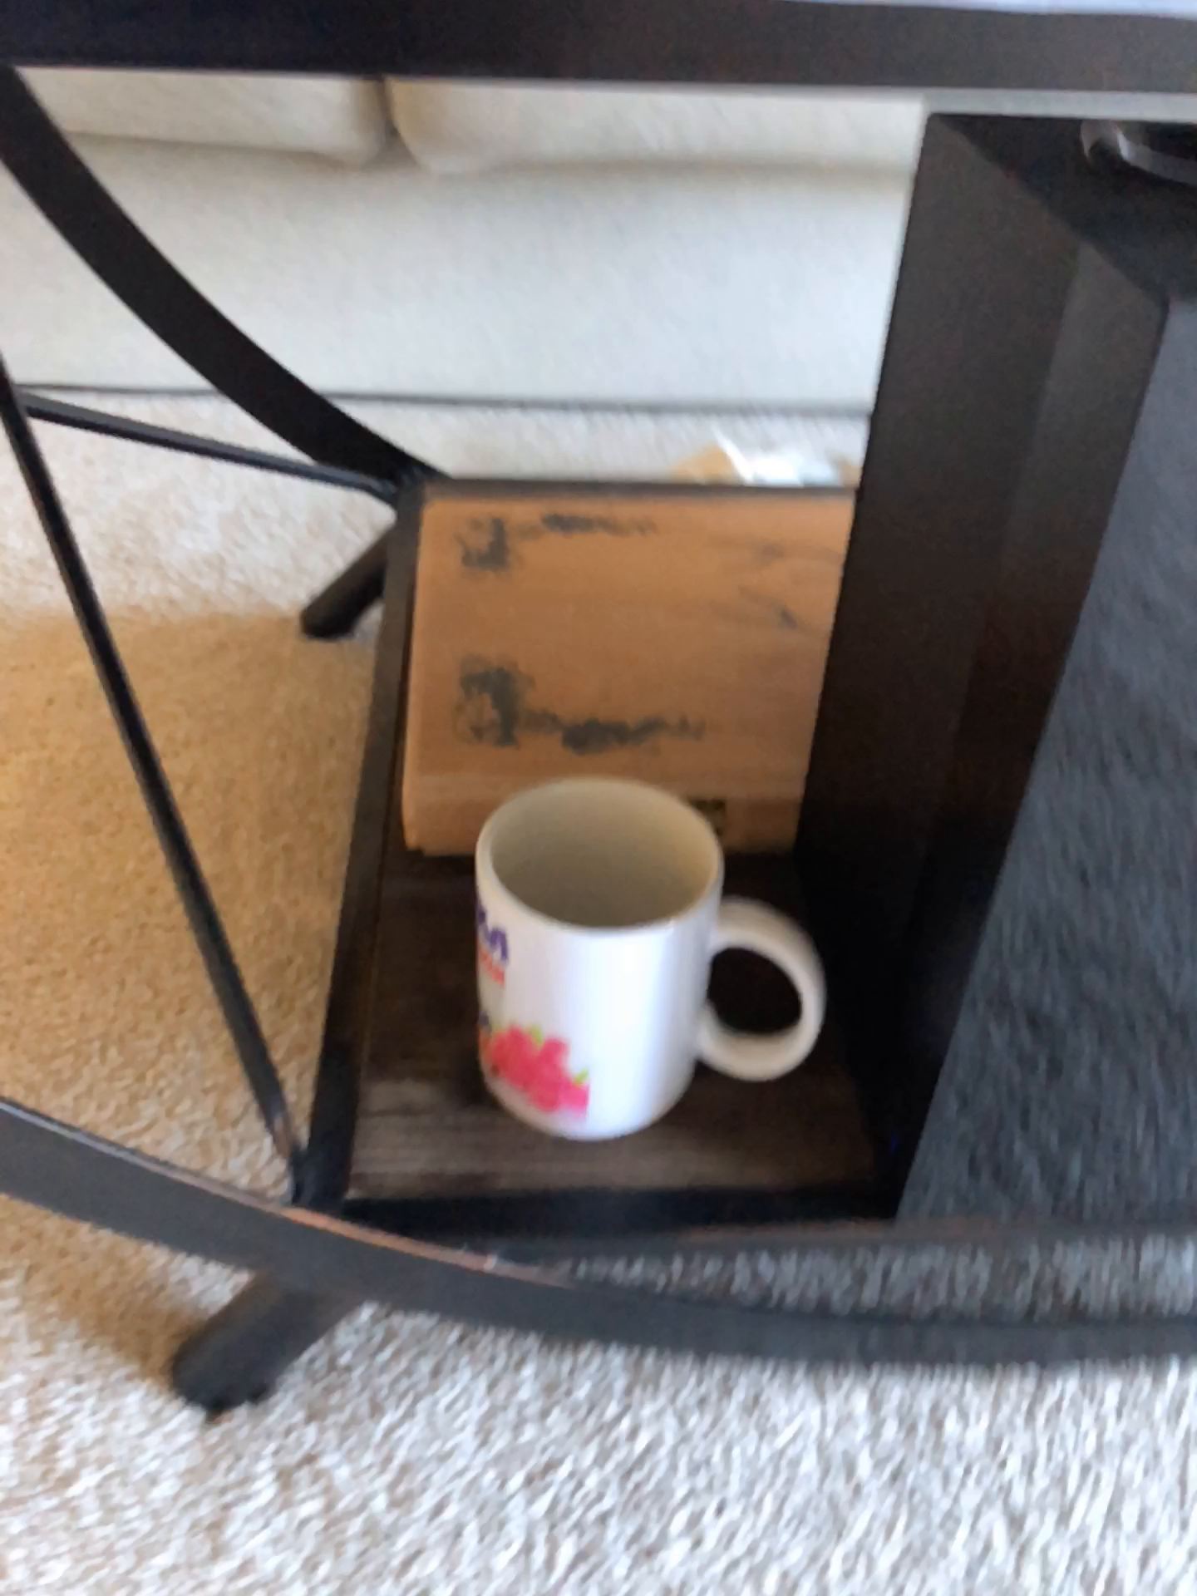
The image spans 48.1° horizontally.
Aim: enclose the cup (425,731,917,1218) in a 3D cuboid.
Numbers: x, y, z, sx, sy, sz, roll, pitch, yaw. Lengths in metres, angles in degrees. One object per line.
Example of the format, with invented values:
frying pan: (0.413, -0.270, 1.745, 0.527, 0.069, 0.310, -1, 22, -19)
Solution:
cup: (0.024, 0.058, 0.467, 0.140, 0.100, 0.090, 15, 39, 14)
